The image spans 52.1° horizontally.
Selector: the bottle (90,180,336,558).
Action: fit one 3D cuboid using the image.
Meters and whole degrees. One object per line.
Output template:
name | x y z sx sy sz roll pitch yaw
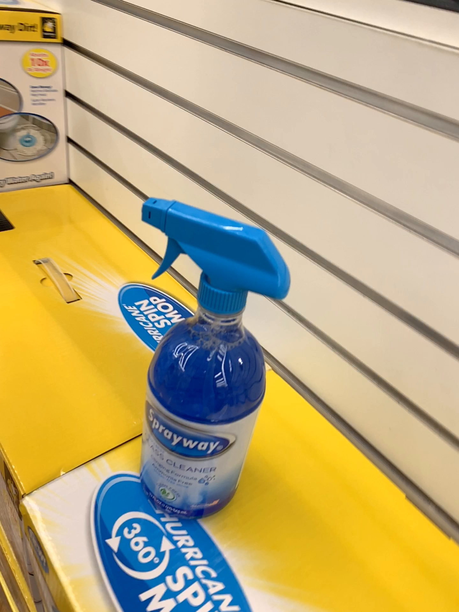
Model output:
bottle | -0.024 0.053 0.336 0.110 0.239 0.090 25 38 18
